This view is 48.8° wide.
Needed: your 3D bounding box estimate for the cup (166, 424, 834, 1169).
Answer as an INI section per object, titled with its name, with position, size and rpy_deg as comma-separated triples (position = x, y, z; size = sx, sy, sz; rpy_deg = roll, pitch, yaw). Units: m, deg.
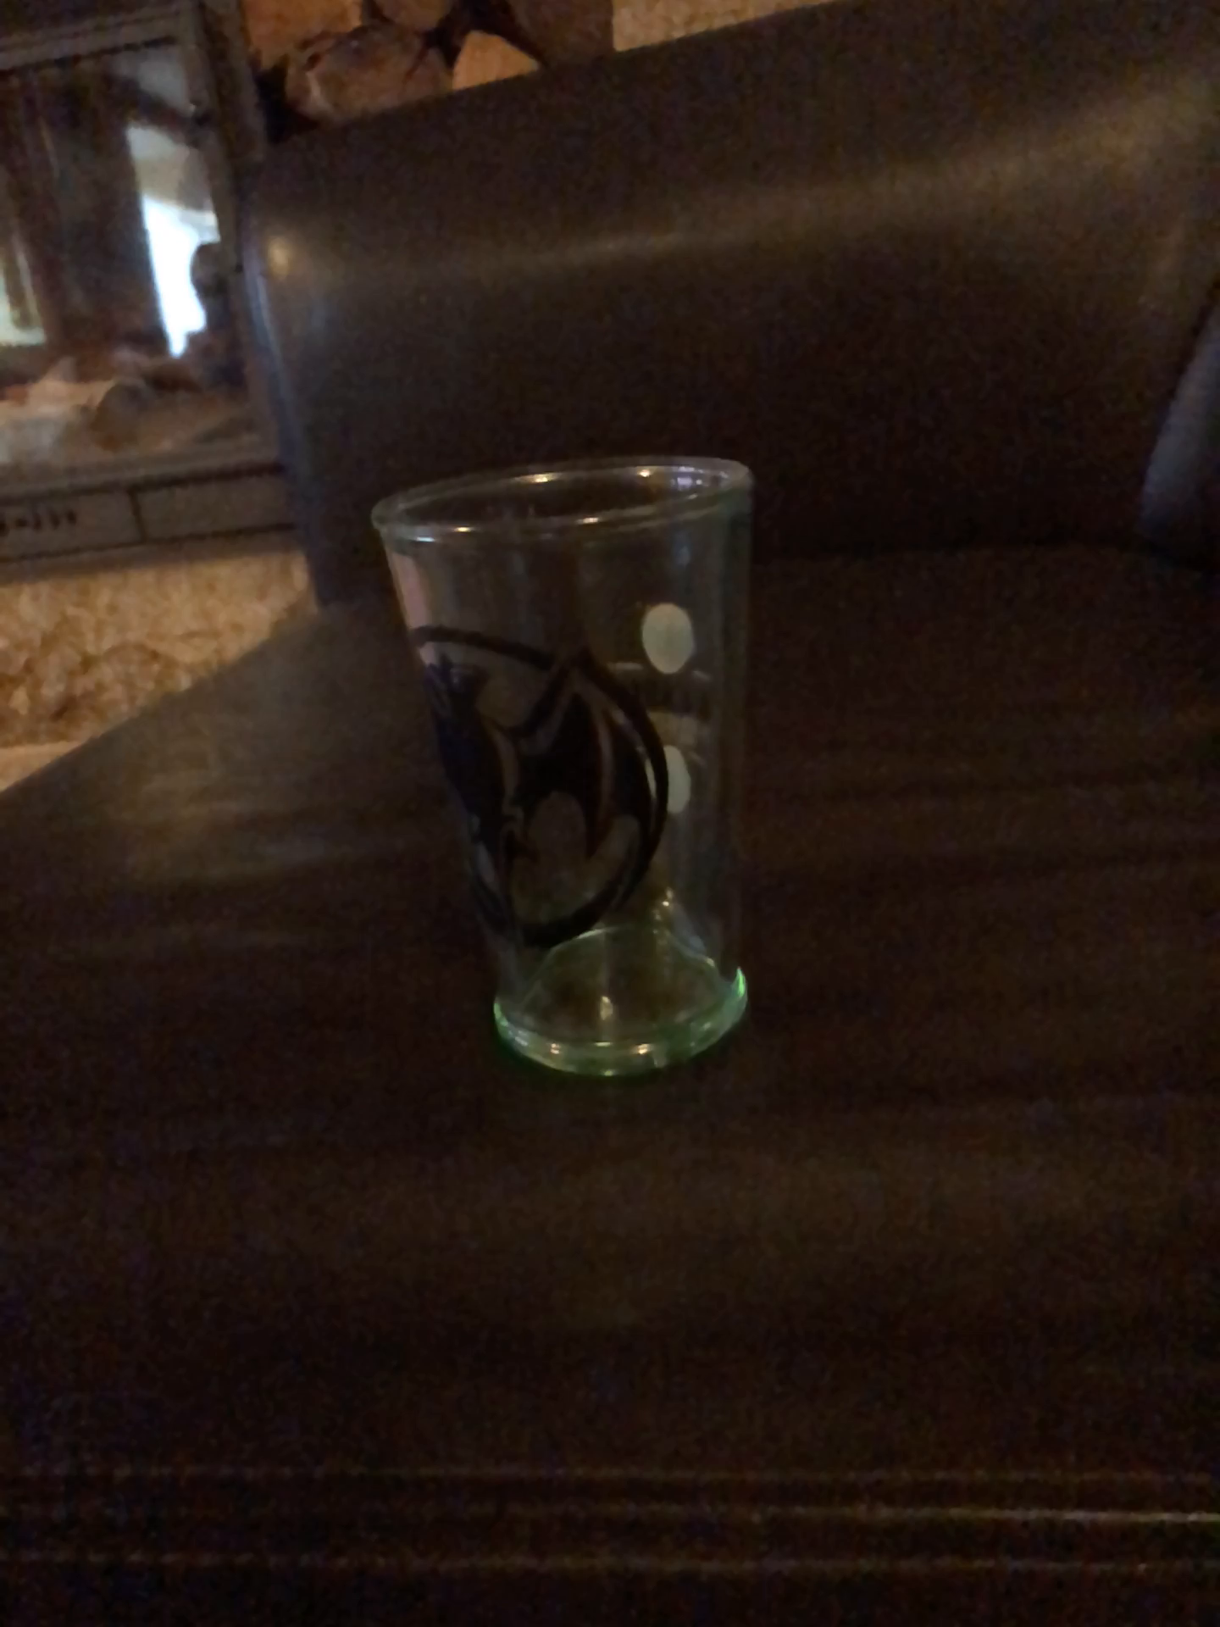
[cup]
position = -0.018, -0.012, 0.279
size = 0.084, 0.117, 0.088
rpy_deg = -7, 21, 3
